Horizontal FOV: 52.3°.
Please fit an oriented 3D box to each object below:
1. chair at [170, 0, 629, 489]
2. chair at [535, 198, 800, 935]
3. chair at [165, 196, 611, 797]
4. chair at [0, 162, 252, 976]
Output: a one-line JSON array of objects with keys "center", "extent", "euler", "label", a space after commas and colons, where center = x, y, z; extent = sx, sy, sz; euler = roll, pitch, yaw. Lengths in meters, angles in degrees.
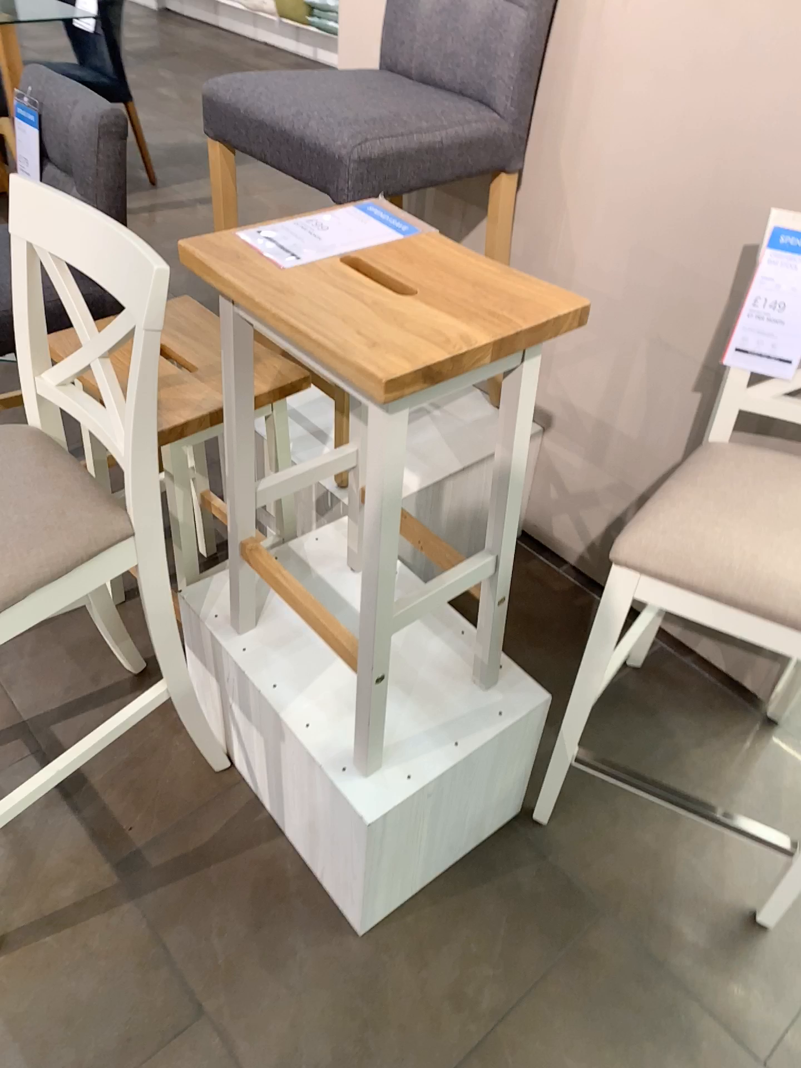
[{"center": [-0.029, -0.691, 1.566], "extent": [0.533, 0.984, 0.469], "euler": [-27, 49, -32], "label": "chair"}, {"center": [0.568, 0.075, 1.265], "extent": [0.418, 0.945, 0.515], "euler": [20, 42, 18], "label": "chair"}, {"center": [-0.042, -0.050, 1.116], "extent": [0.322, 0.638, 0.399], "euler": [-26, 48, -32], "label": "chair"}, {"center": [-0.574, 0.072, 1.160], "extent": [0.439, 0.955, 0.504], "euler": [33, 47, 30], "label": "chair"}]
